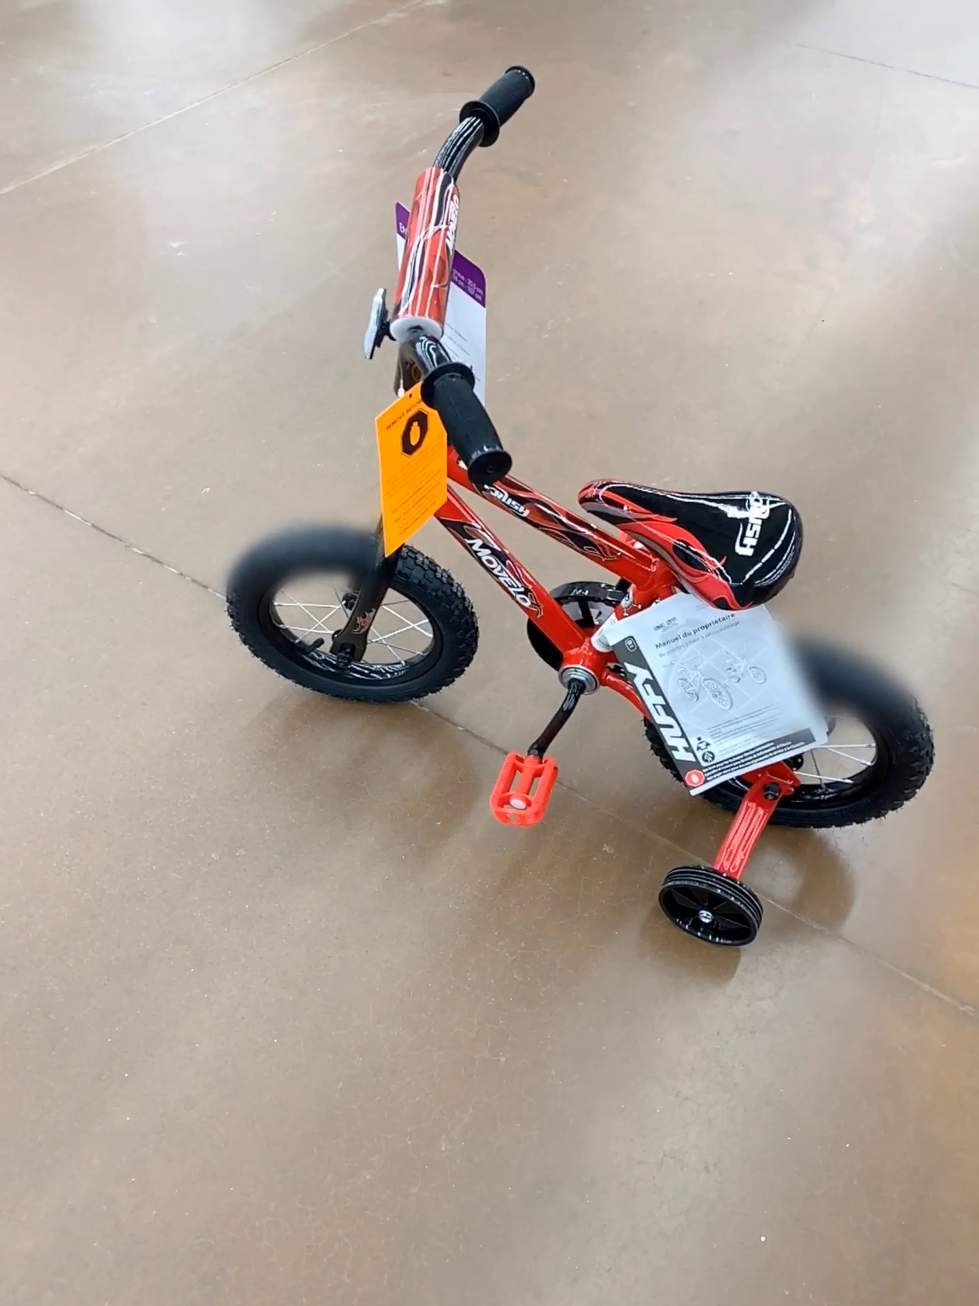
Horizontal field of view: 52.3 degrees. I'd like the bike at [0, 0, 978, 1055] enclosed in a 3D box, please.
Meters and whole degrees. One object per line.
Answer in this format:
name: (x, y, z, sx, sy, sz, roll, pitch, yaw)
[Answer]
bike: (0.070, -0.103, 0.847, 0.735, 0.604, 0.441, 16, 50, 9)
